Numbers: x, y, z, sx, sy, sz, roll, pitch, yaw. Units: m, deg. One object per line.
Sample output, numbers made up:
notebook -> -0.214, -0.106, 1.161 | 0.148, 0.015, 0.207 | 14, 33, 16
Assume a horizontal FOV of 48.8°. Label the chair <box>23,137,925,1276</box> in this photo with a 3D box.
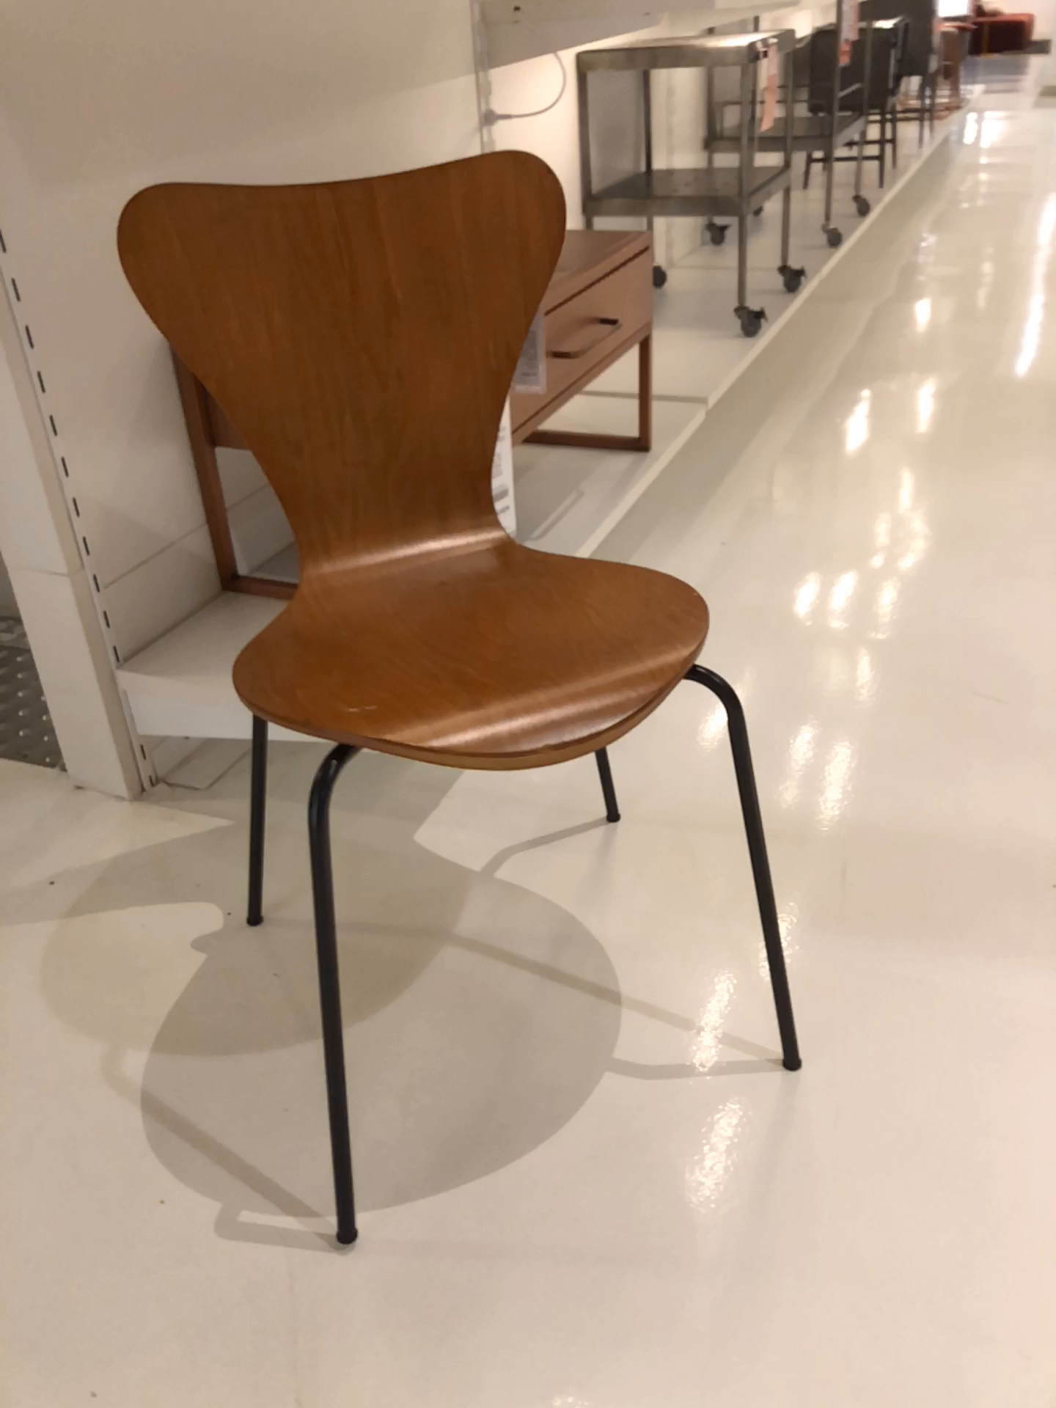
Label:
chair -> -0.074, -0.053, 1.101 | 0.540, 0.794, 0.574 | -15, 32, -17
